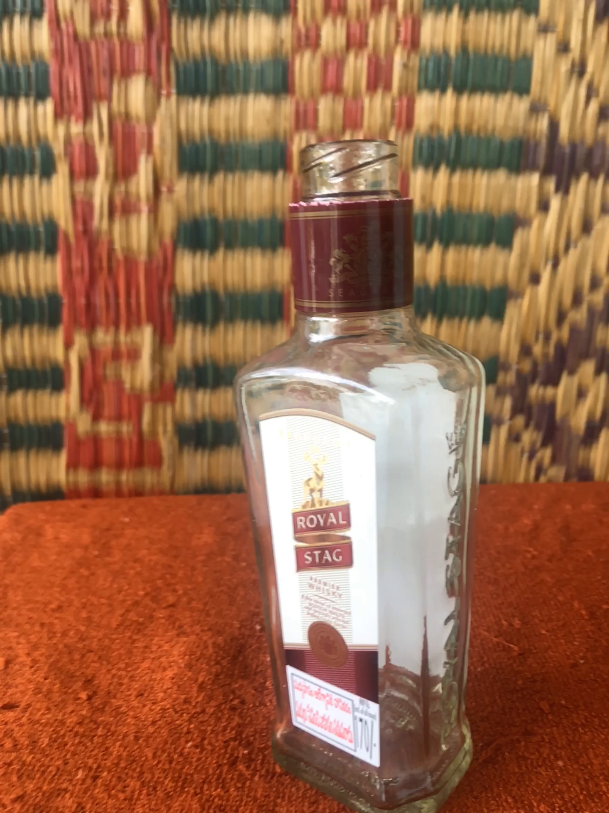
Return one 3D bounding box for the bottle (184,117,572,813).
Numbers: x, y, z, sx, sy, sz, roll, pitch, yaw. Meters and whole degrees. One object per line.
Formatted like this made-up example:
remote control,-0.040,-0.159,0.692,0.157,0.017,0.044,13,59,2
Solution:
bottle,0.021,0.017,0.172,0.060,0.159,0.060,-2,19,1
